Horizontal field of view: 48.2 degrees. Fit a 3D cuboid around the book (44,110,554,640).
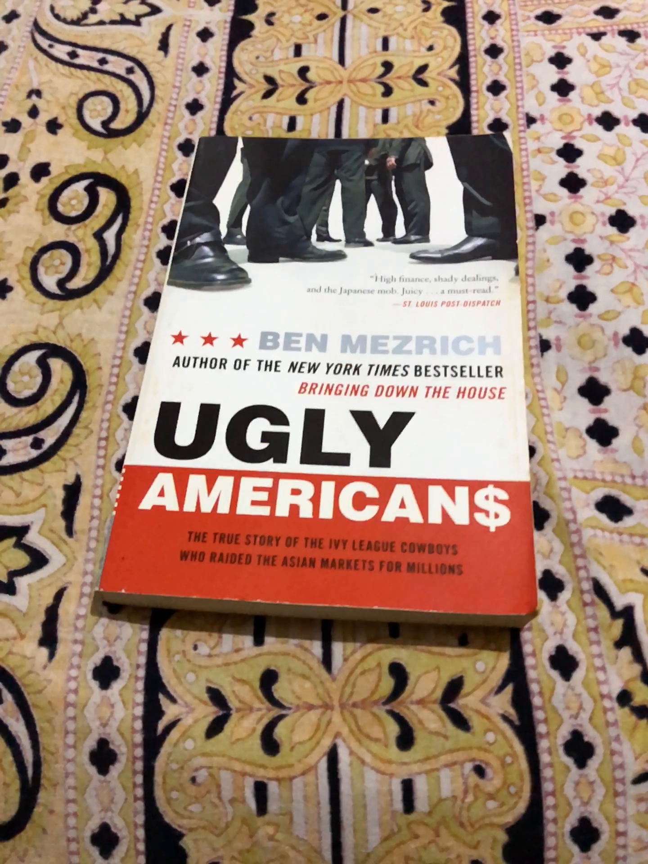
[{"bbox_3d":[-0.002,-0.031,0.252,0.140,0.030,0.190,1,64,6],"label":"book"}]
